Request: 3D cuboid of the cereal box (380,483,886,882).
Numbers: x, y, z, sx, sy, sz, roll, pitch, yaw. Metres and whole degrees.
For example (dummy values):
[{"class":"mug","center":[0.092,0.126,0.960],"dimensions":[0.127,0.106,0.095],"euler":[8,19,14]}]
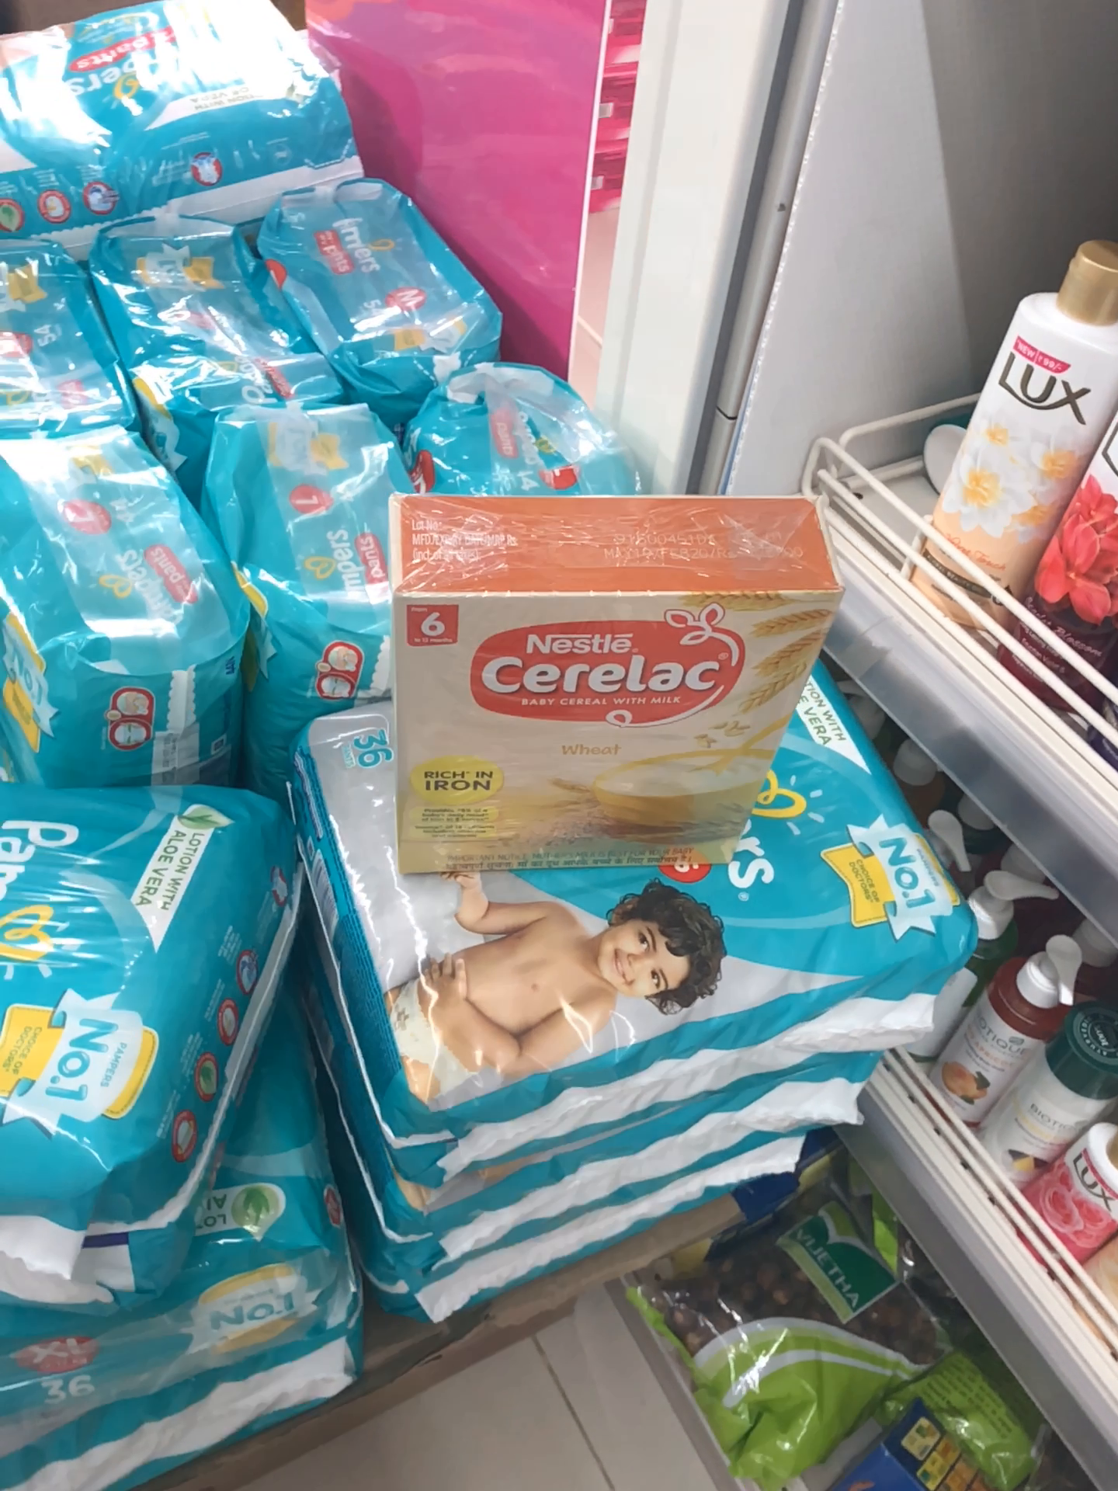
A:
[{"class":"cereal box","center":[0.014,-0.016,0.474],"dimensions":[0.160,0.179,0.050],"euler":[-1,56,-8]}]
